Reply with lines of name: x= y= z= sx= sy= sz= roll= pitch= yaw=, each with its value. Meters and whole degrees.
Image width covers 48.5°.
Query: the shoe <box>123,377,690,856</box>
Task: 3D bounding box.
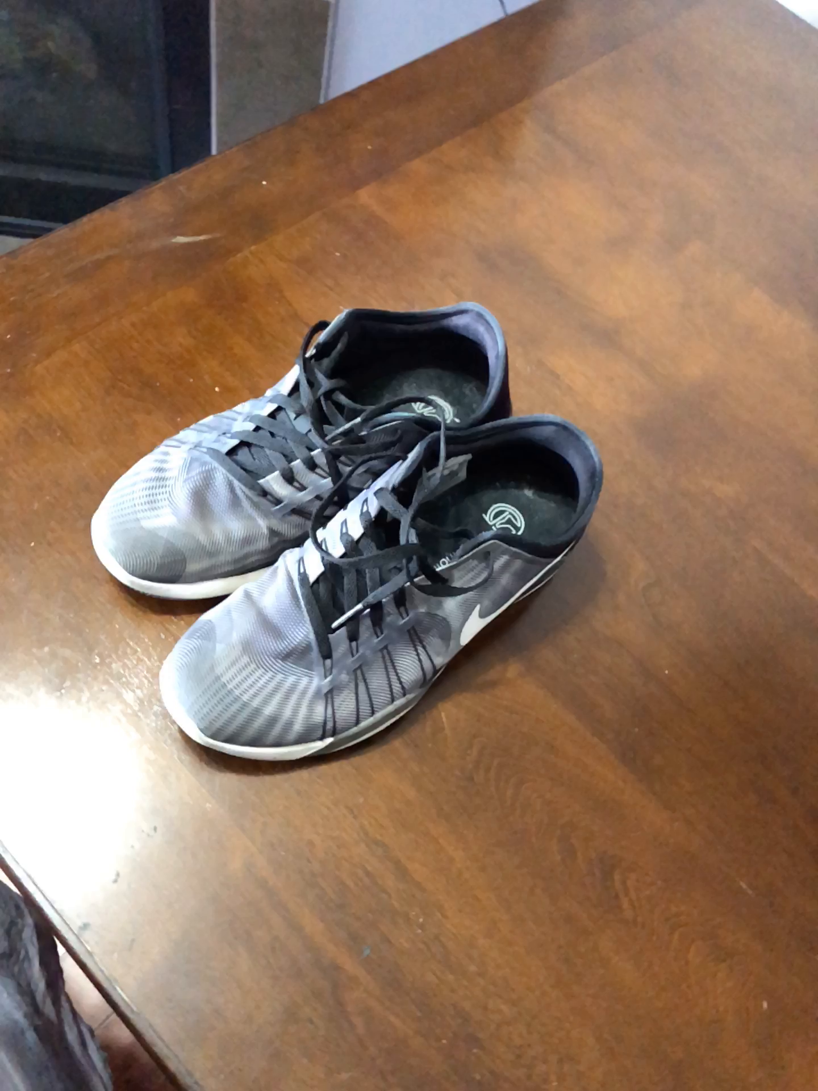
shoe: x=0.002 y=0.026 z=0.420 sx=0.230 sy=0.080 sz=0.100 roll=-30 pitch=72 yaw=-24

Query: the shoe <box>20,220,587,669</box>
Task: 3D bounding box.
shoe: x=-0.044 y=-0.054 z=0.437 sx=0.230 sy=0.090 sz=0.100 roll=-29 pitch=71 yaw=-24
